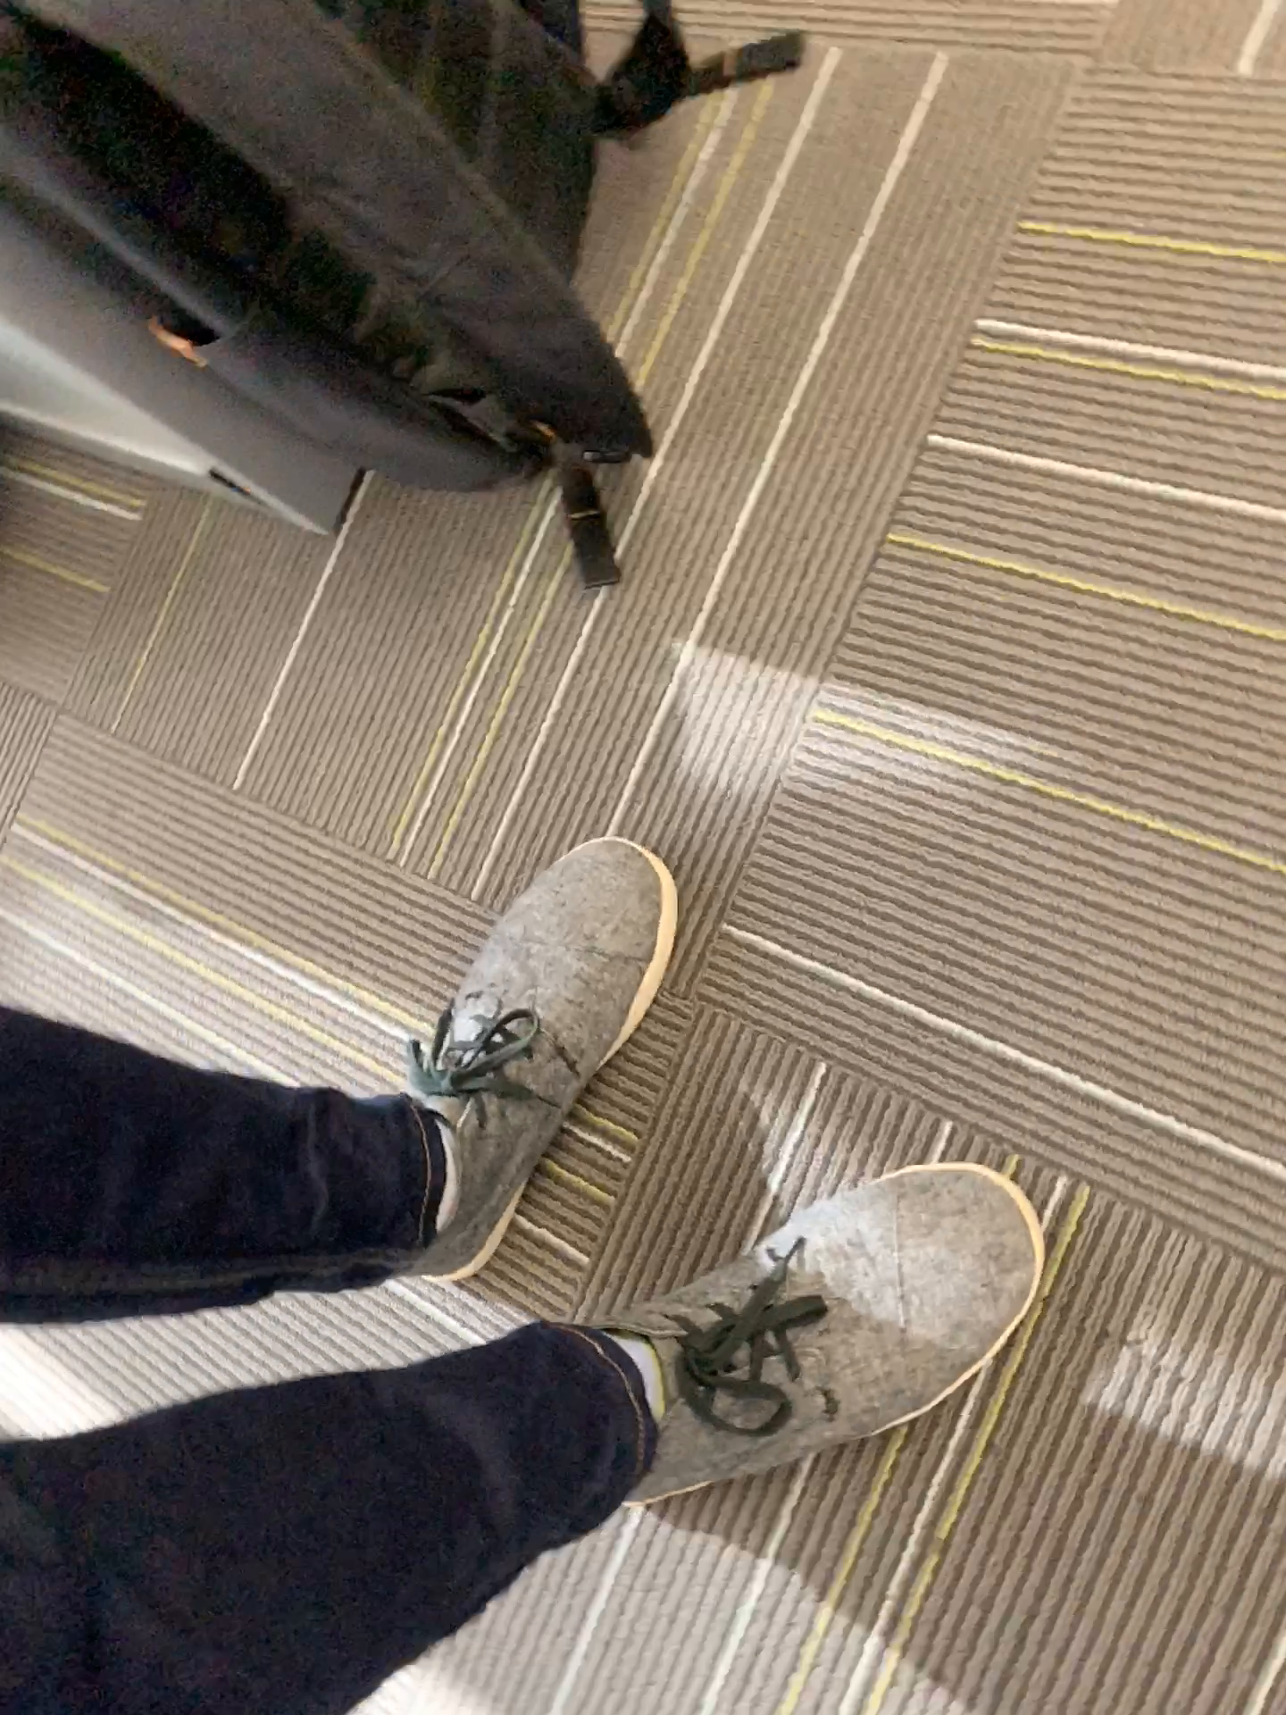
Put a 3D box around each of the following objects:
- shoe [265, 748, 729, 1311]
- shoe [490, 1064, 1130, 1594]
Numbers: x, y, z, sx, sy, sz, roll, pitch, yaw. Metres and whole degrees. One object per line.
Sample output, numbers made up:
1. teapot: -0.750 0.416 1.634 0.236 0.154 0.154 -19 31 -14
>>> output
1. shoe: -0.089 0.103 0.807 0.134 0.087 0.301 30 93 28
2. shoe: 0.081 0.246 0.694 0.299 0.087 0.134 -36 66 16
